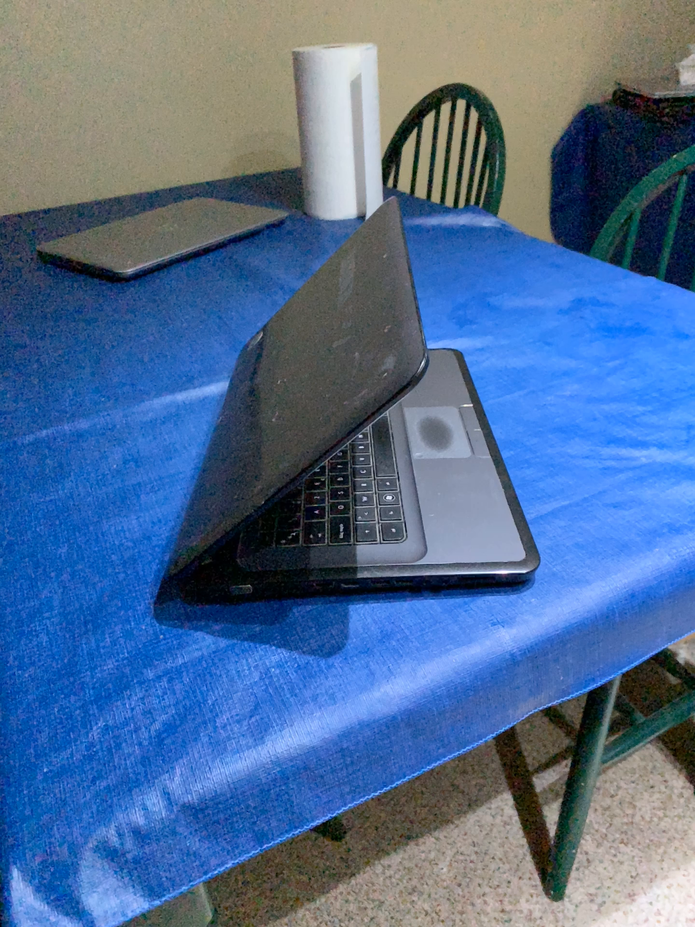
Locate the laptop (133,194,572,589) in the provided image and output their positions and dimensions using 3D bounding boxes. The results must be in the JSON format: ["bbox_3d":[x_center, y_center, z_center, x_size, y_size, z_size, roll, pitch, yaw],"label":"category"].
[{"bbox_3d":[0.002,-0.089,0.589,0.243,0.160,0.364,-4,33,1],"label":"laptop"}]
